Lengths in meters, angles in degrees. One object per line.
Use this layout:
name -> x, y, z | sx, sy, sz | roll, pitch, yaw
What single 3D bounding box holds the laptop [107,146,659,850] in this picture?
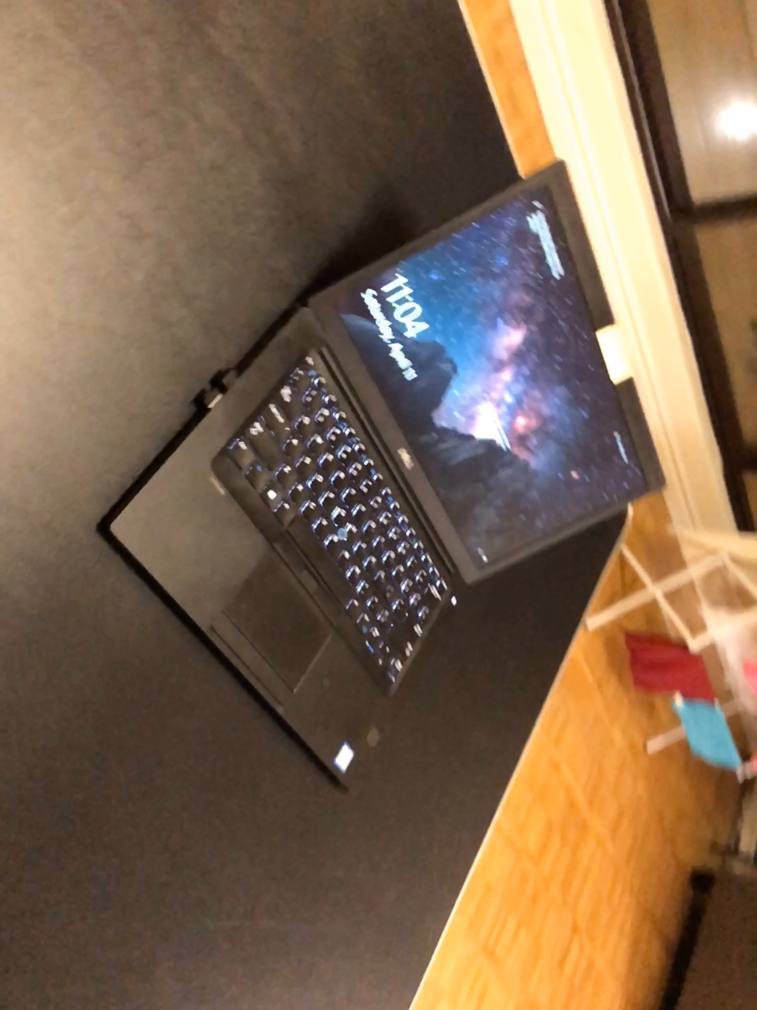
laptop -> 0.052, -0.009, 0.621 | 0.368, 0.140, 0.320 | -58, 133, -31
